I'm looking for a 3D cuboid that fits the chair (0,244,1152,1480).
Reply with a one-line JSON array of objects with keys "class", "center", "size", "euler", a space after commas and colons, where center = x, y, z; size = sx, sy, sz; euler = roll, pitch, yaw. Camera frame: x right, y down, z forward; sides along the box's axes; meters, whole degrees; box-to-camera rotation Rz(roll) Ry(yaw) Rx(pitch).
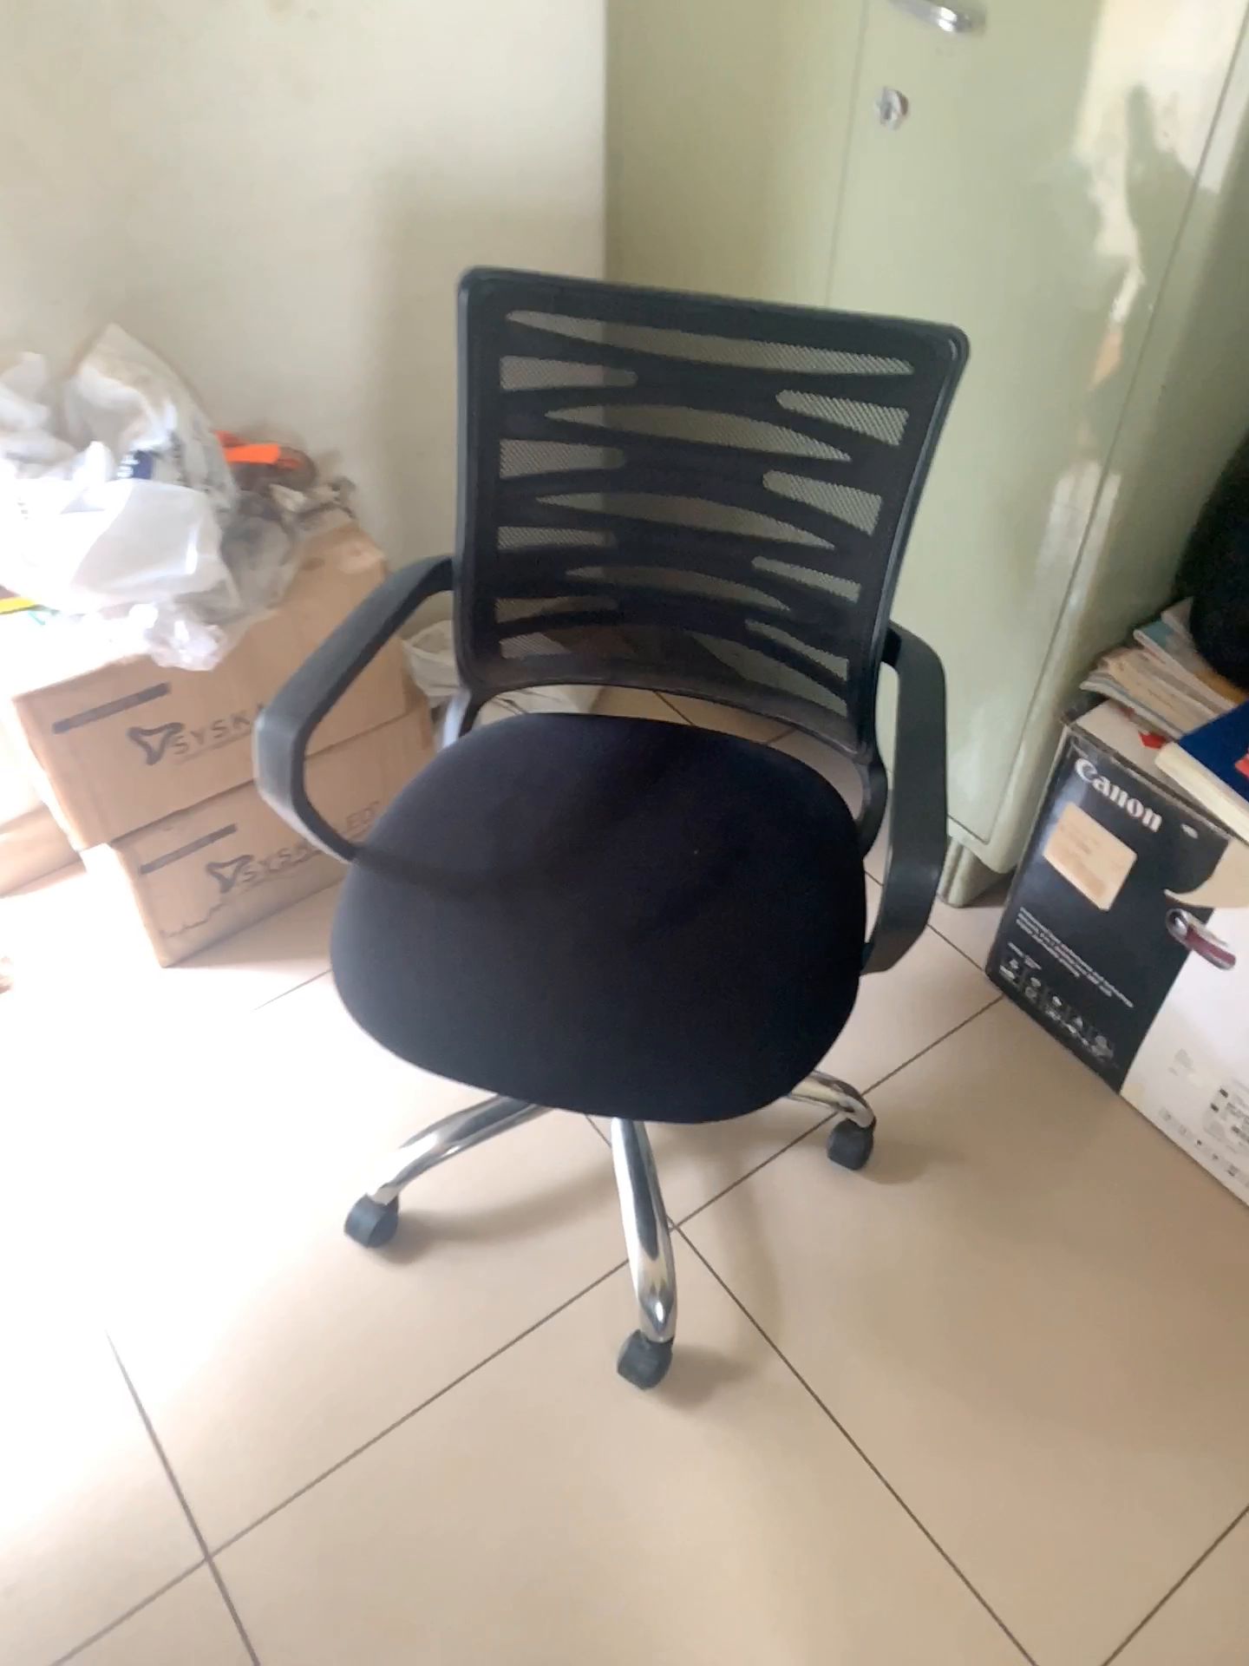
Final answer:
[{"class": "chair", "center": [0.013, 0.066, 1.293], "size": [0.680, 0.996, 0.652], "euler": [10, 46, 9]}]
